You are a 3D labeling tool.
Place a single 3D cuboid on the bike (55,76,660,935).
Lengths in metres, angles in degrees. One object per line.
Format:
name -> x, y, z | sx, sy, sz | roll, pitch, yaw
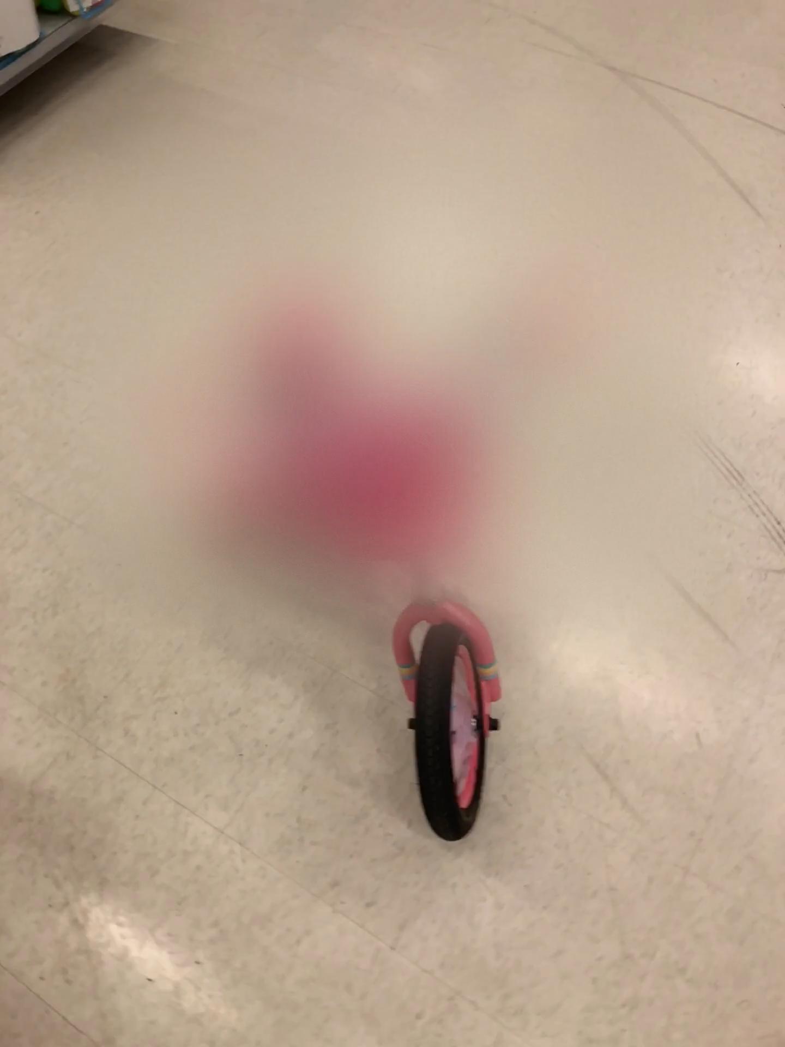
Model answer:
bike -> -0.086, -0.030, 1.232 | 0.456, 0.632, 0.882 | -18, 58, -9
